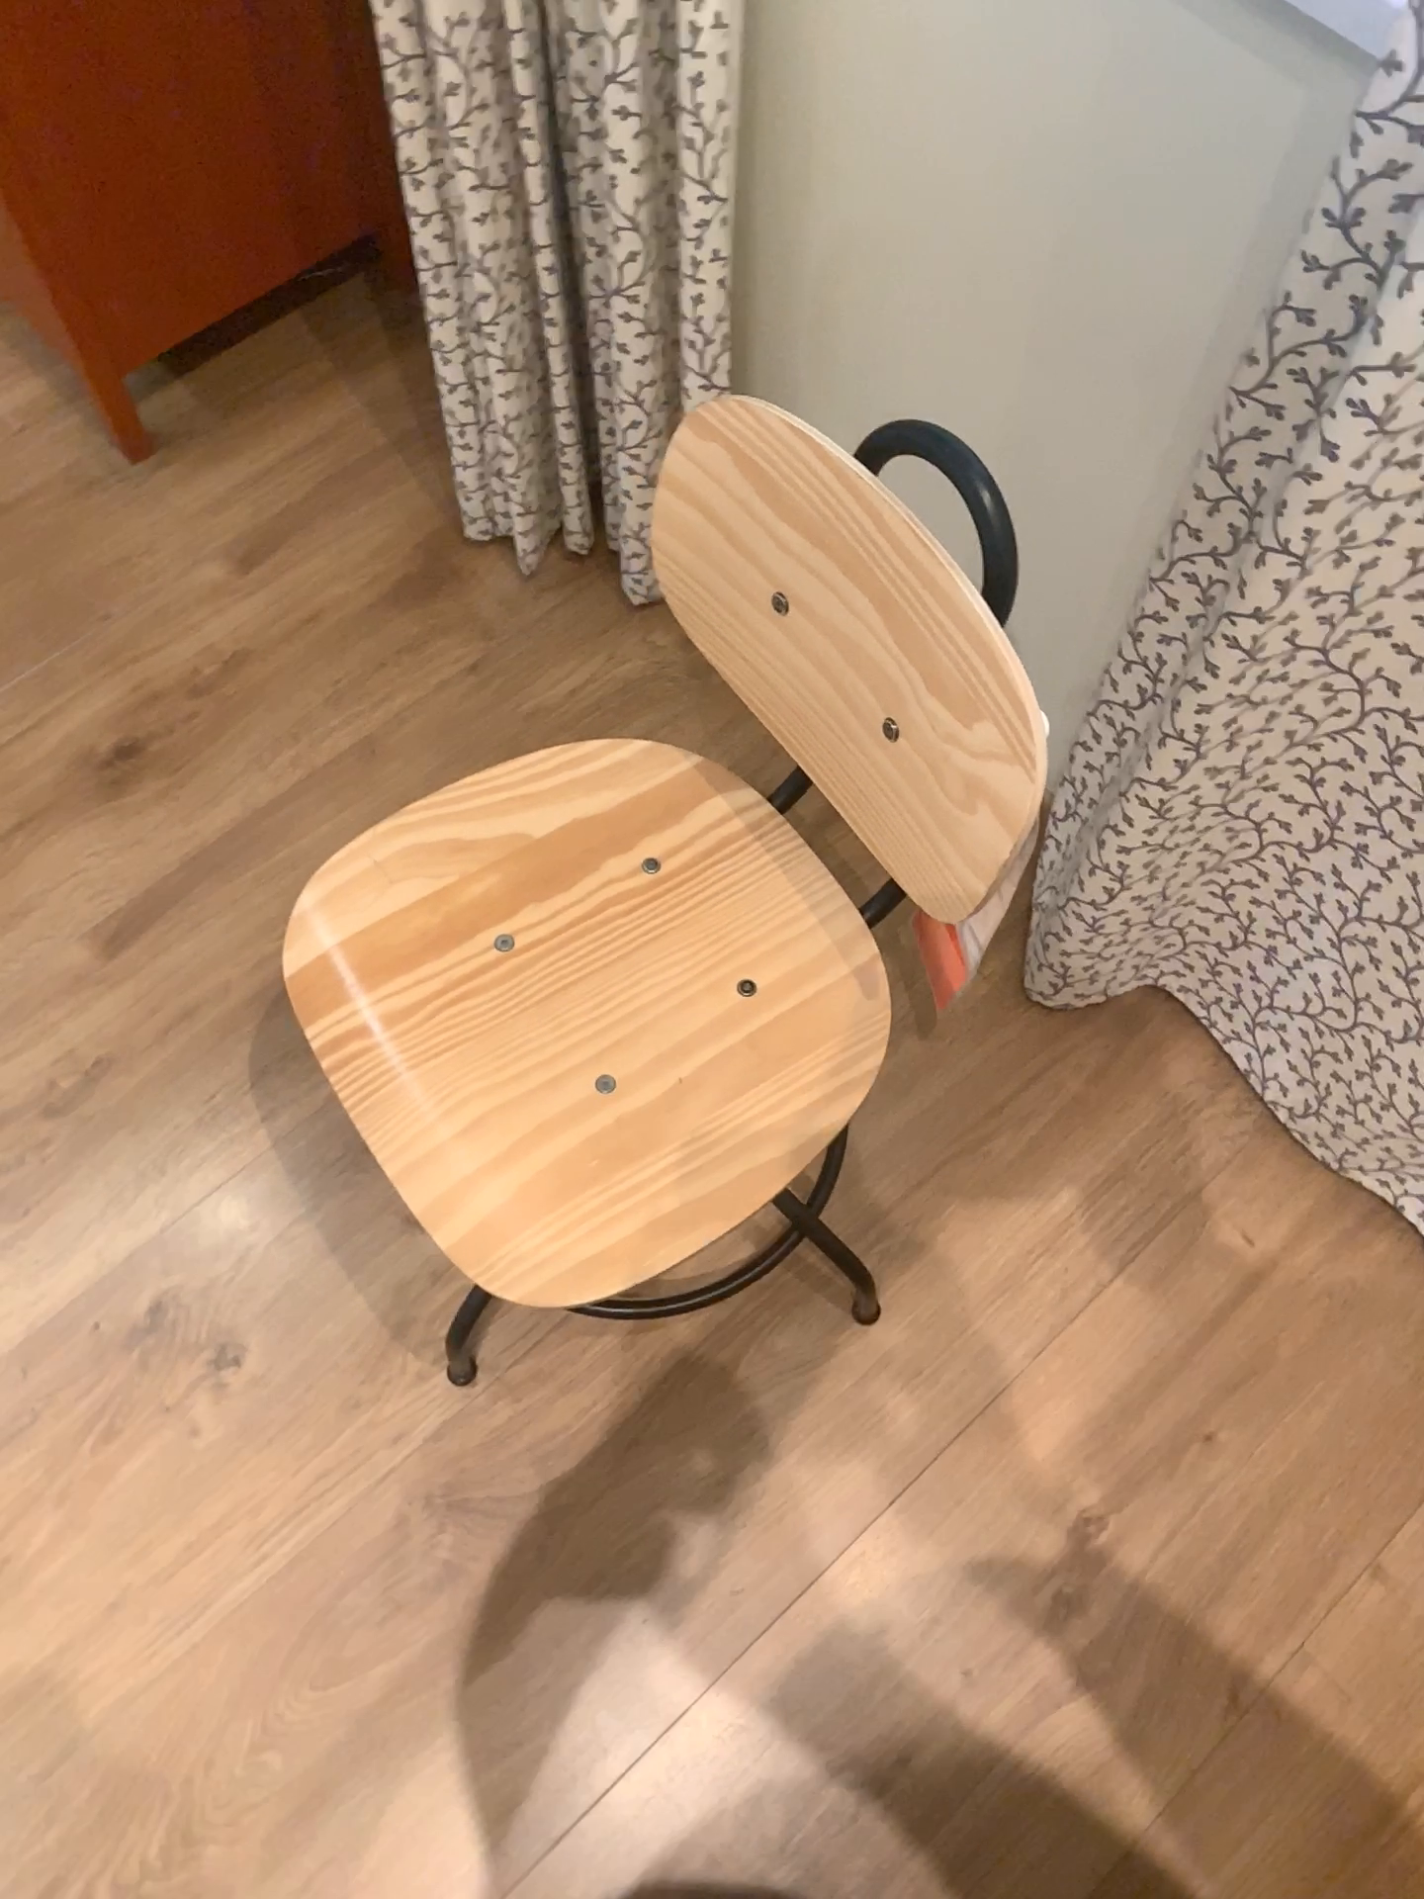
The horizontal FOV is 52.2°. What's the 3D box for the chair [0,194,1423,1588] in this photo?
[{"bbox_3d":[-0.051,0.014,0.990,0.630,0.599,0.490,-32,70,-14],"label":"chair"}]
